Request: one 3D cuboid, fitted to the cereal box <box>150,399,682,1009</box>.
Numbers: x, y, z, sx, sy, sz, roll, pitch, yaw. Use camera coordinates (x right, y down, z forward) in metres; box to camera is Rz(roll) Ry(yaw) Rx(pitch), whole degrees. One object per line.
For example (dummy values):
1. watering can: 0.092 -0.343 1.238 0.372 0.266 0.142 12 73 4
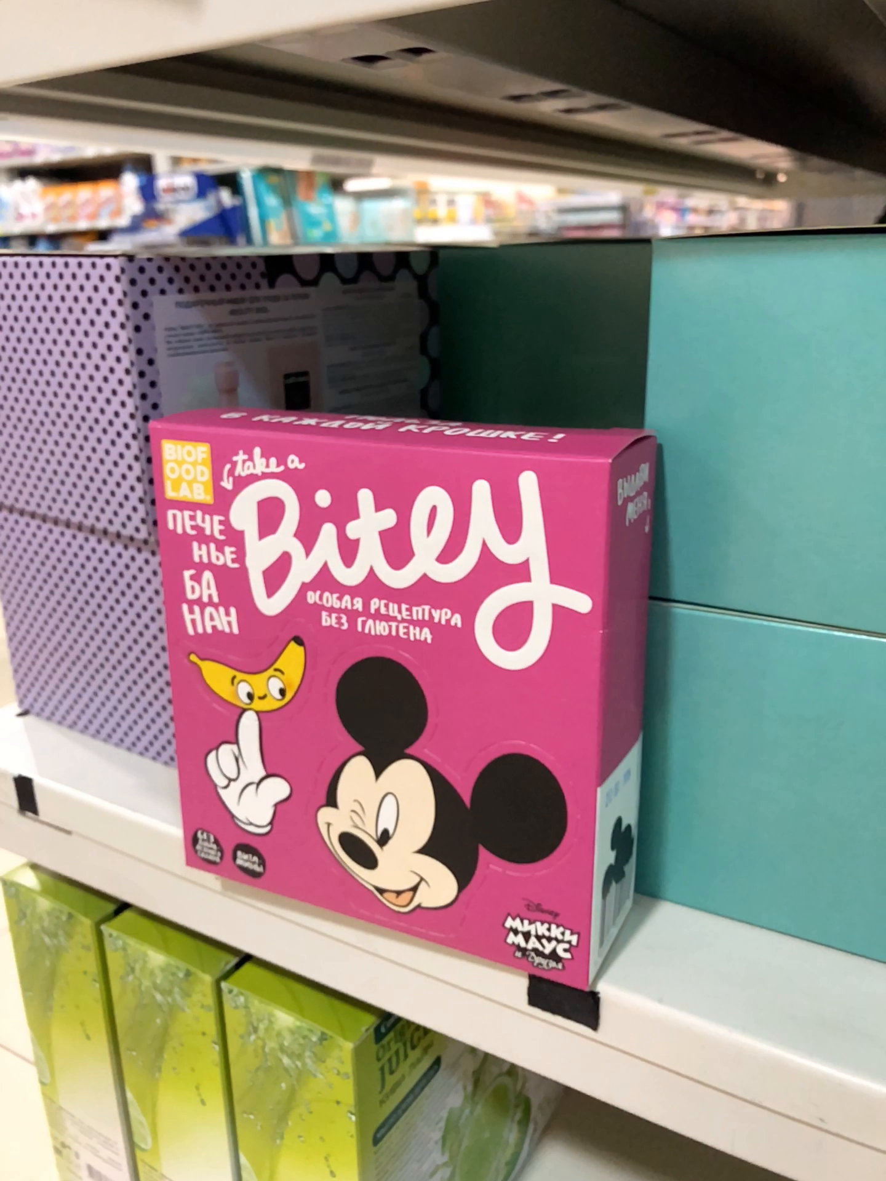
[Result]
1. cereal box: -0.010 0.026 0.287 0.140 0.149 0.040 8 19 24
